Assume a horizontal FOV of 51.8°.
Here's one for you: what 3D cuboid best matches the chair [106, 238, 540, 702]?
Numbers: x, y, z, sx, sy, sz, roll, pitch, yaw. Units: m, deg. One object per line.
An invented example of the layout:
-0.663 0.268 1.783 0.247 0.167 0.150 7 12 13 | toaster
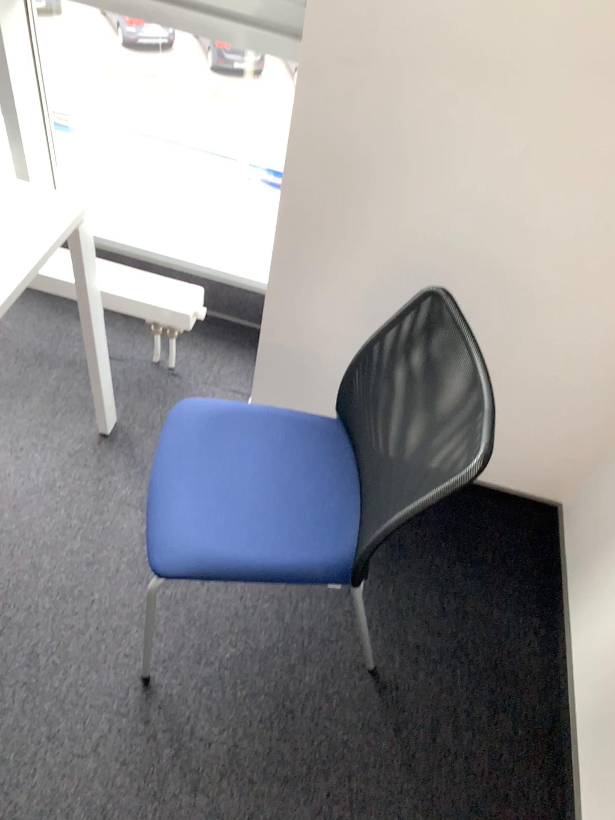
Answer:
-0.058 0.196 1.346 0.590 0.896 0.532 2 50 -11 | chair
